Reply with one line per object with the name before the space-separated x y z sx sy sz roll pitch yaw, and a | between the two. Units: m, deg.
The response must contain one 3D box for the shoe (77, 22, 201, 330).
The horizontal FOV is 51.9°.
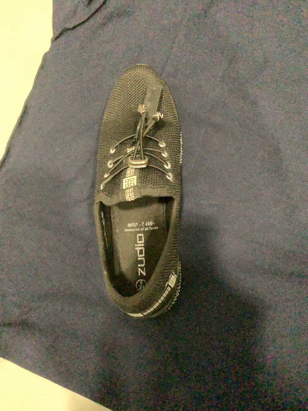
shoe | -0.014 -0.028 0.344 0.100 0.090 0.290 -6 81 11
